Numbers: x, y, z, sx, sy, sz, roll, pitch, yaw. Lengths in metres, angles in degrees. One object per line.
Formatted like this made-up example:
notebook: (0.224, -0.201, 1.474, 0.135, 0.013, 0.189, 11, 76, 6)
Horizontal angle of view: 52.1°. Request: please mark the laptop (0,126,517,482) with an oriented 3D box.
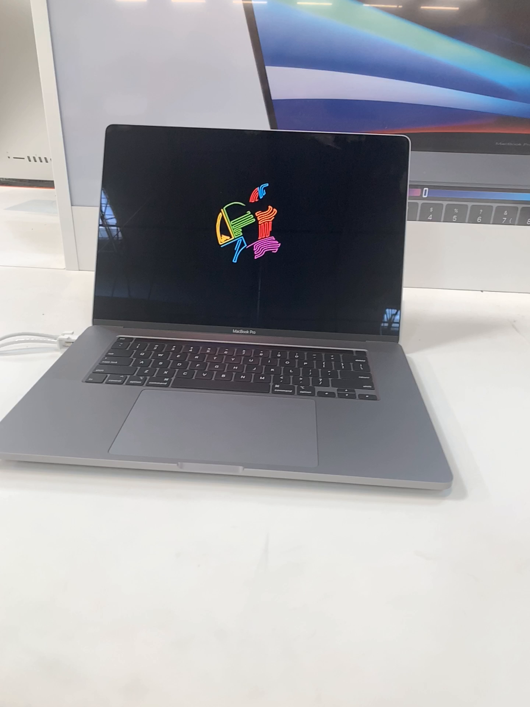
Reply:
laptop: (-0.024, -0.085, 0.501, 0.341, 0.203, 0.347, 3, 25, 2)
